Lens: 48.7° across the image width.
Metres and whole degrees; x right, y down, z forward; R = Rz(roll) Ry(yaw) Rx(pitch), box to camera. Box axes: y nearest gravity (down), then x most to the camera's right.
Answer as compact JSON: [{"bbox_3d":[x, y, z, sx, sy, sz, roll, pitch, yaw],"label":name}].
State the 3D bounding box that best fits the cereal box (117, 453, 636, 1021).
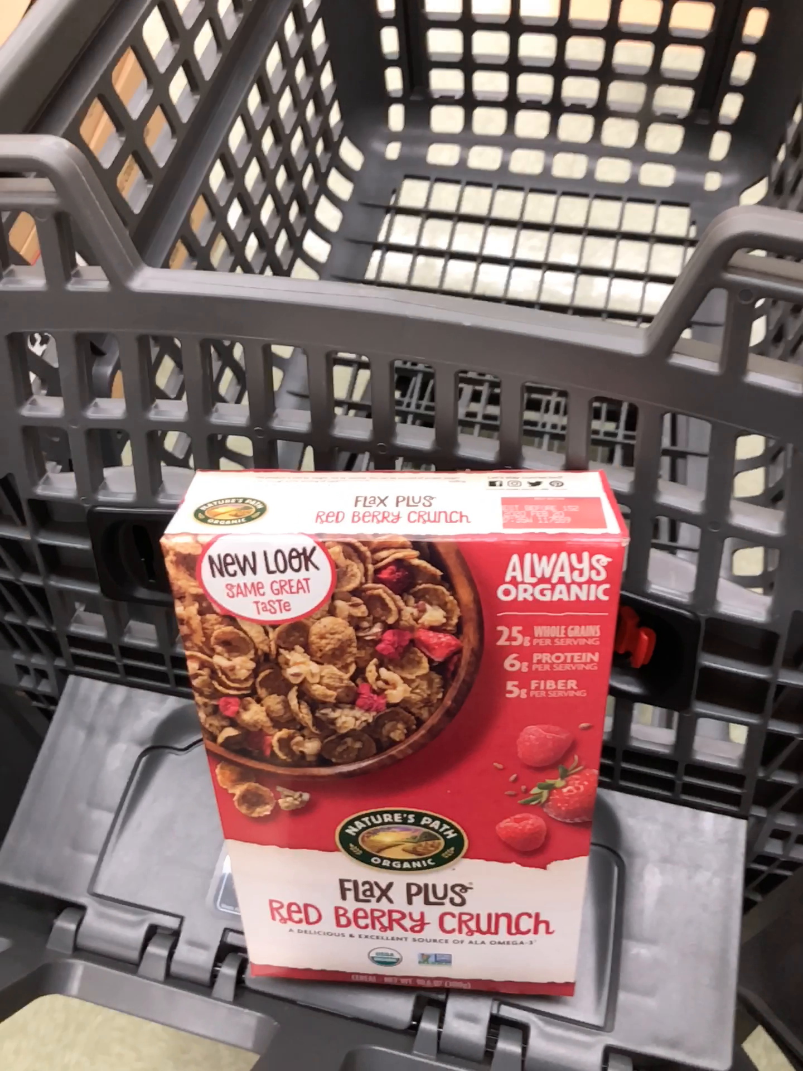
[{"bbox_3d":[-0.002,0.094,0.380,0.170,0.250,0.070,1,30,6],"label":"cereal box"}]
